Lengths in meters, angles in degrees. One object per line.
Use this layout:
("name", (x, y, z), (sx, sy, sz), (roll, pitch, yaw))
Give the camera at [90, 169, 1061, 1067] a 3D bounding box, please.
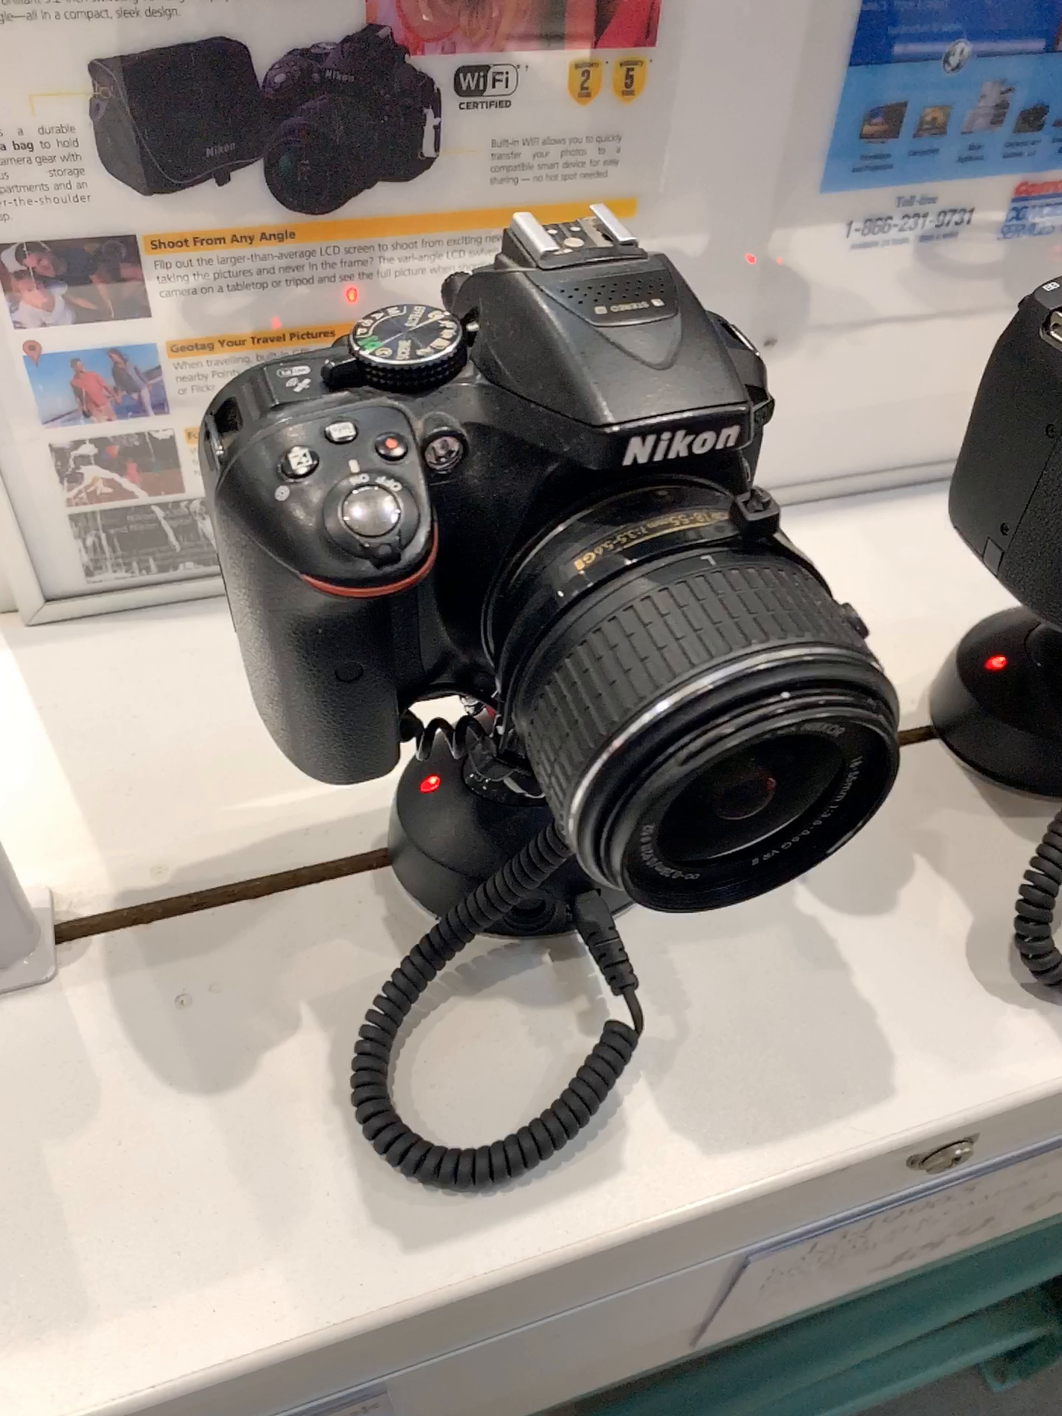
("camera", (-0.001, -0.032, 0.205), (0.120, 0.069, 0.141), (-15, 49, -18))
